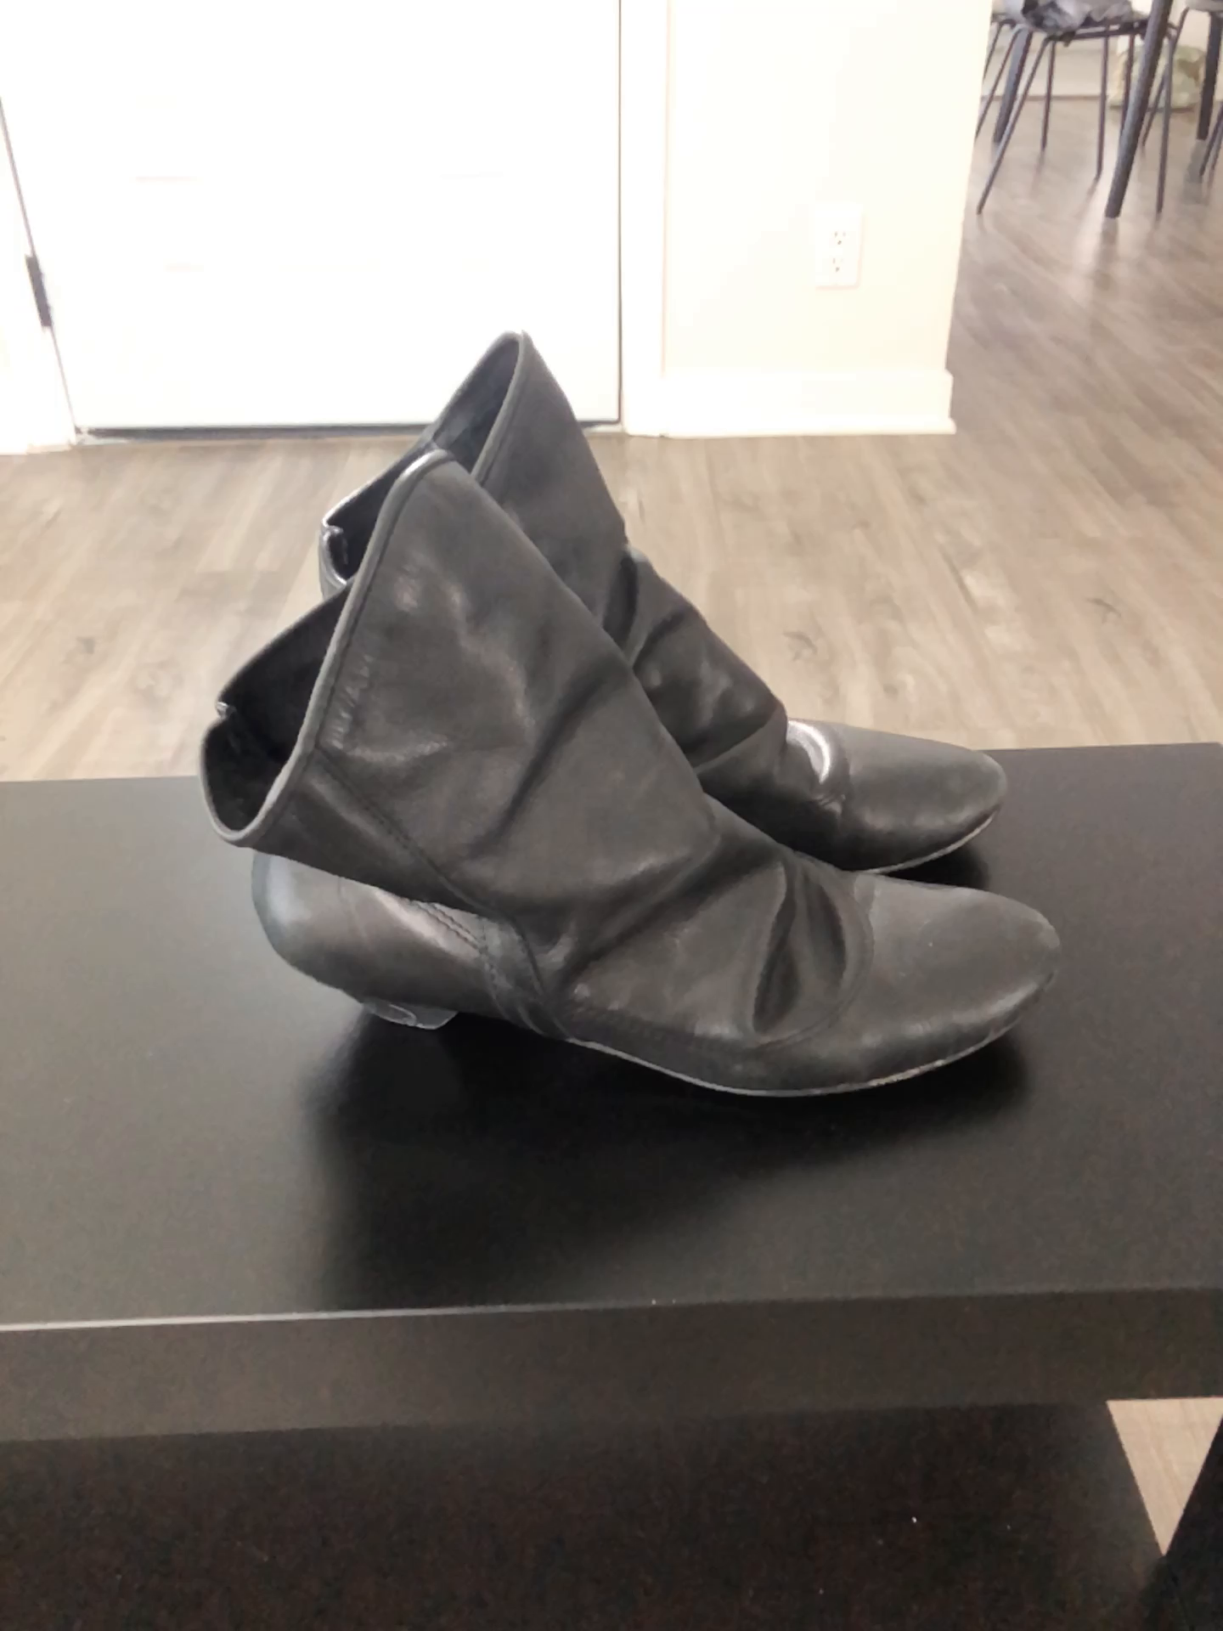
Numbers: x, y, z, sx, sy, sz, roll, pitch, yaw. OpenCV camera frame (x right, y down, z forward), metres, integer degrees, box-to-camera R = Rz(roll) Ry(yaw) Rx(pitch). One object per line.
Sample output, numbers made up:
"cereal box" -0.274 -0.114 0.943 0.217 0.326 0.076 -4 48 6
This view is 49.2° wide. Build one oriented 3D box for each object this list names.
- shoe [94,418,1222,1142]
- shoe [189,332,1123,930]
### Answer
"shoe" 0.013 -0.010 0.378 0.250 0.169 0.102 -2 34 -2
"shoe" 0.012 -0.063 0.460 0.260 0.169 0.102 -2 34 -2
